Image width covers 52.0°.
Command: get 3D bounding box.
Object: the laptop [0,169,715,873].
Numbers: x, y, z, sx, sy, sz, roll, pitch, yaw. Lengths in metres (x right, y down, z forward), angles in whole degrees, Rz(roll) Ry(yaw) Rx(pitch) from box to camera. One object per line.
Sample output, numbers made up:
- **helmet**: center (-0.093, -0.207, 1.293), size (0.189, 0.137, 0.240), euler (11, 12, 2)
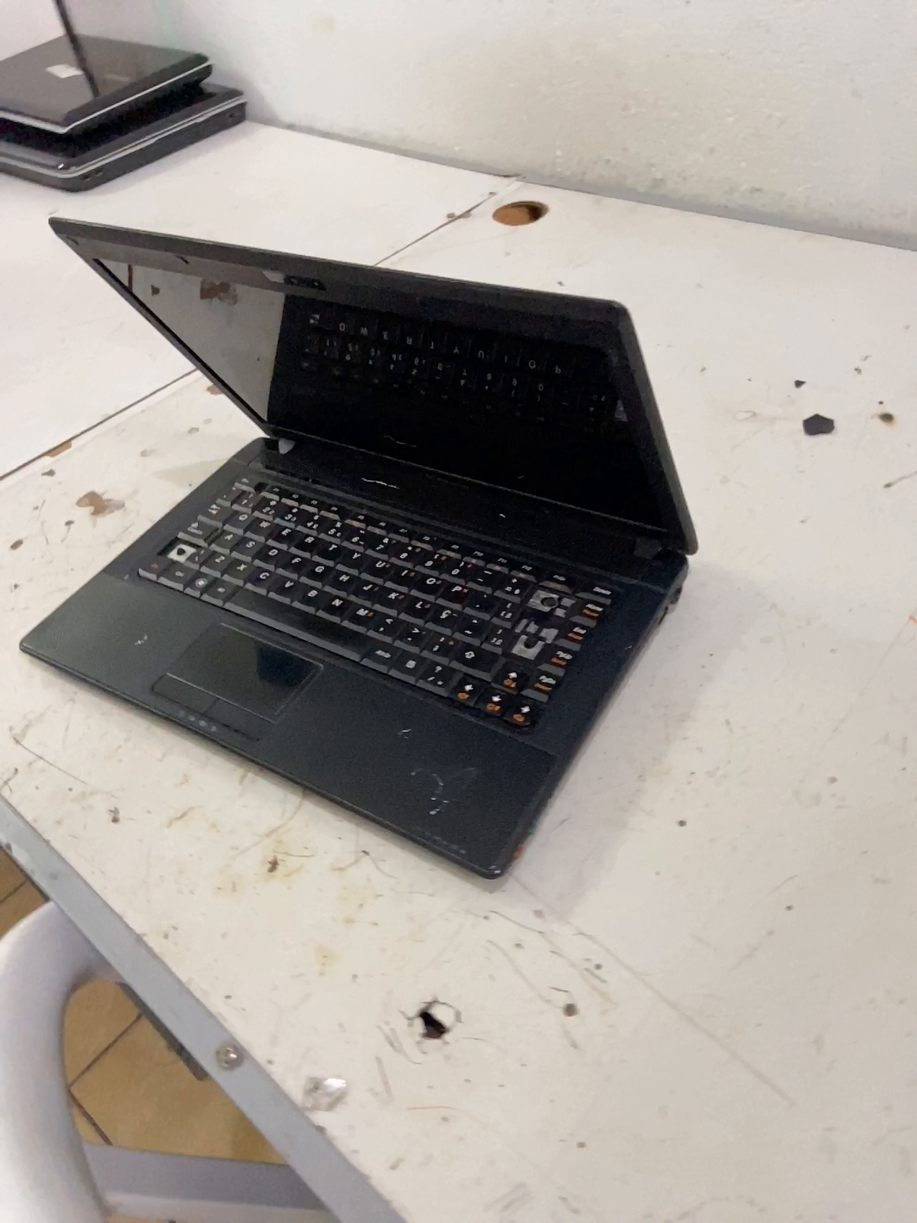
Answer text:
- **laptop**: center (-0.077, -0.073, 0.486), size (0.333, 0.194, 0.224), euler (19, 51, 27)
